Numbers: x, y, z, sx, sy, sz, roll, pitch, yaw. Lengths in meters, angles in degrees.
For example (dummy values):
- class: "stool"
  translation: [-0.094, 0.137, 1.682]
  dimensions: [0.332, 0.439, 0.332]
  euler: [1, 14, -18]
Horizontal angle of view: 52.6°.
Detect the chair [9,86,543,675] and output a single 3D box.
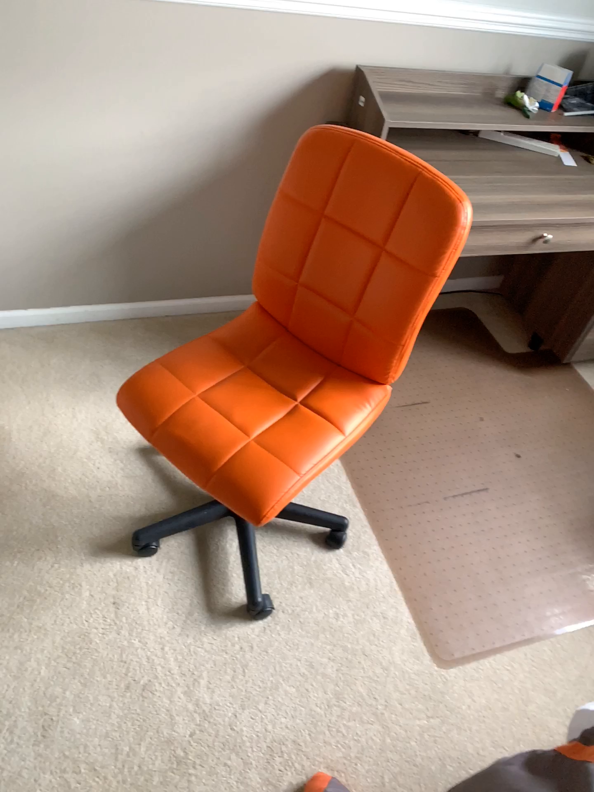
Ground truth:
- class: "chair"
  translation: [-0.086, -0.024, 1.256]
  dimensions: [0.594, 0.904, 0.602]
  euler: [40, 50, 24]
